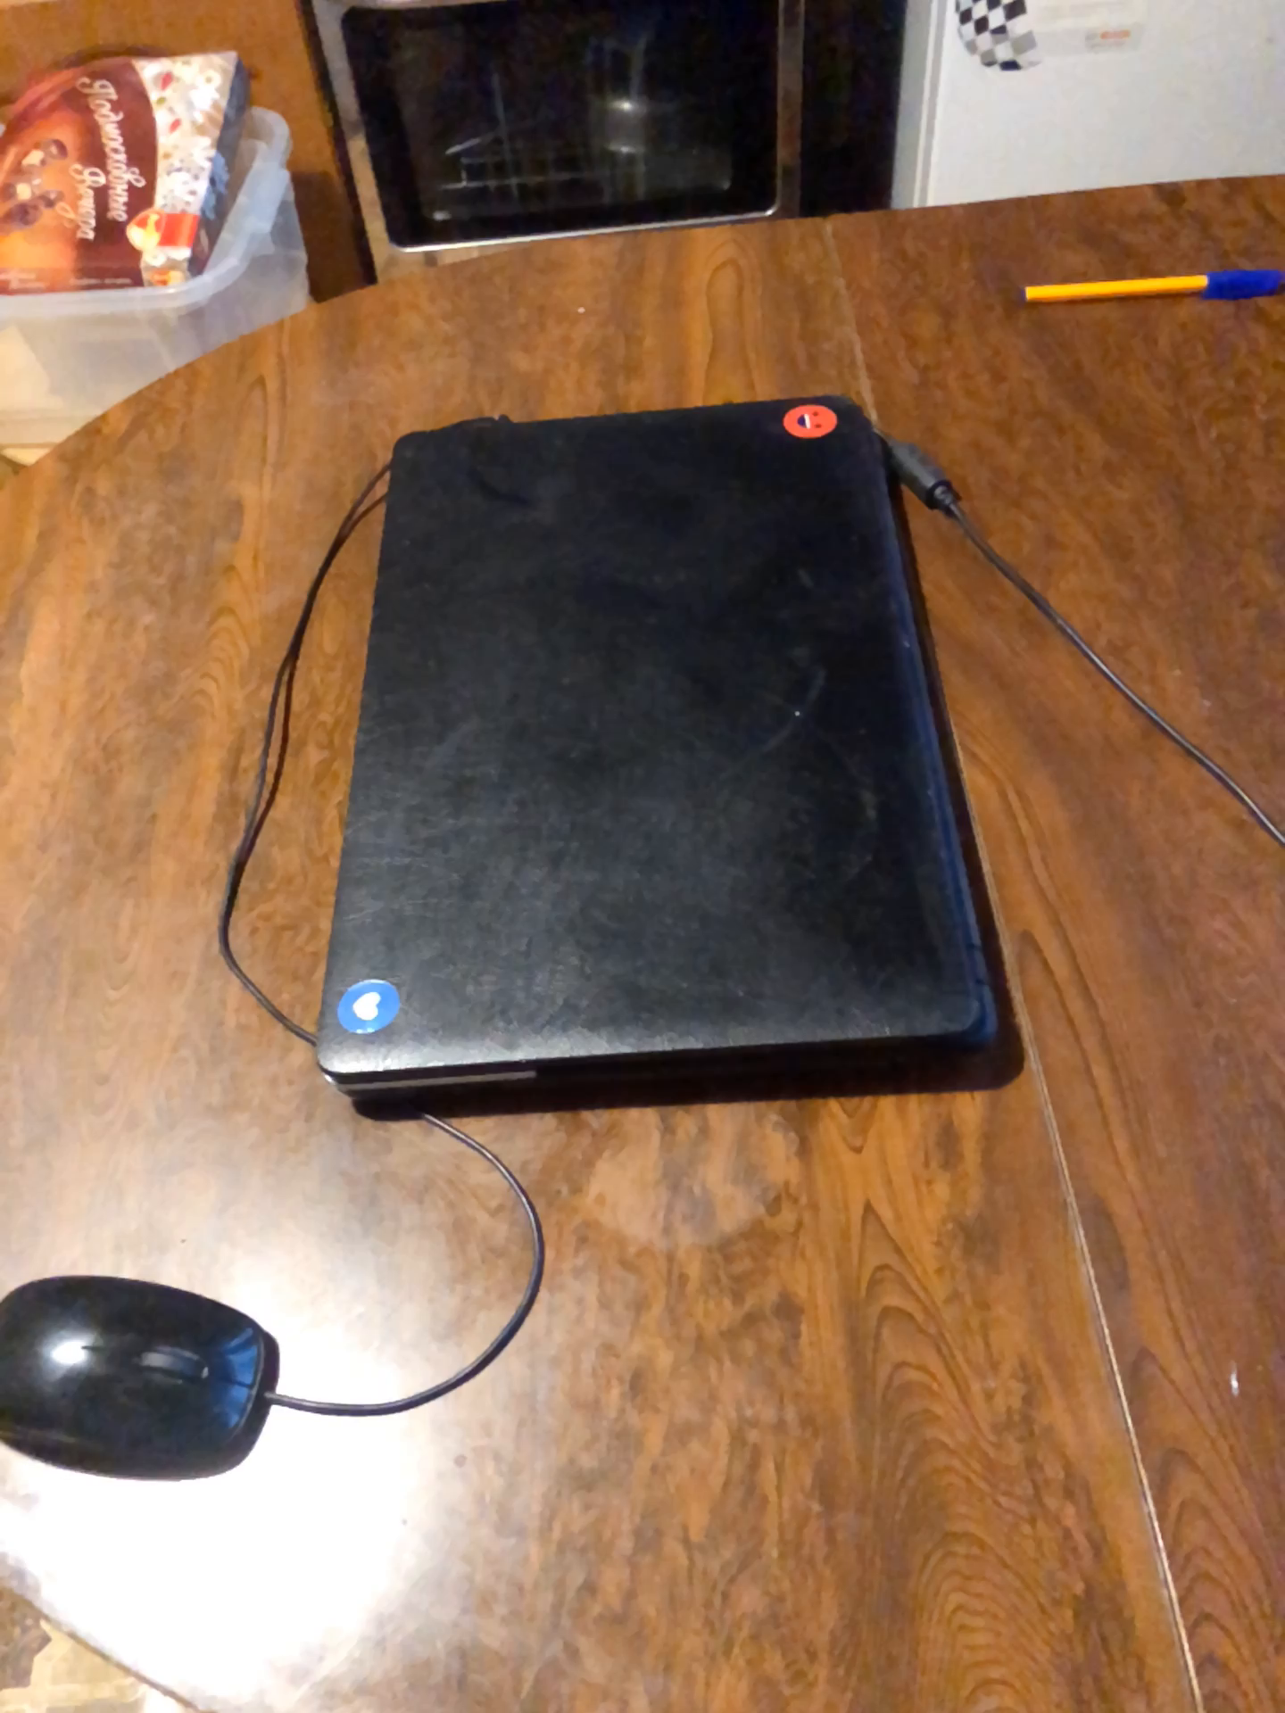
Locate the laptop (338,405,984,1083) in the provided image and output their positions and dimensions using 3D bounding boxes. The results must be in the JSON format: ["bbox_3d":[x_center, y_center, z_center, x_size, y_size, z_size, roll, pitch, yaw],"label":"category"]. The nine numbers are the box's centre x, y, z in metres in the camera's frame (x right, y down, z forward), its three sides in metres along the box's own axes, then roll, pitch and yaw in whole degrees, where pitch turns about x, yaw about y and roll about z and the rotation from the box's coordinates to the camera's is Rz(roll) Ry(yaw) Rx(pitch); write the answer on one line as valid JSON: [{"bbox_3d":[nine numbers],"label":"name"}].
[{"bbox_3d":[-0.002,-0.073,0.627,0.238,0.007,0.367,-5,54,4],"label":"laptop"}]
